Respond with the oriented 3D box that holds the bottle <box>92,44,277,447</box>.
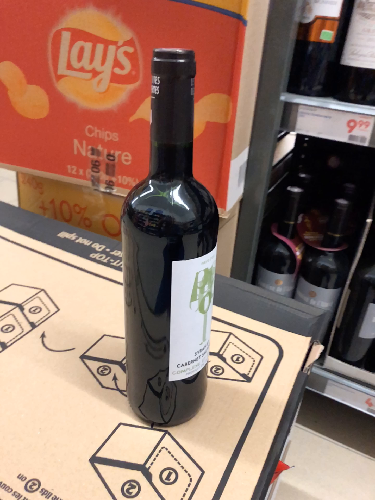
[{"bbox_3d":[-0.005,0.004,0.332,0.080,0.298,0.091,20,32,29],"label":"bottle"}]
